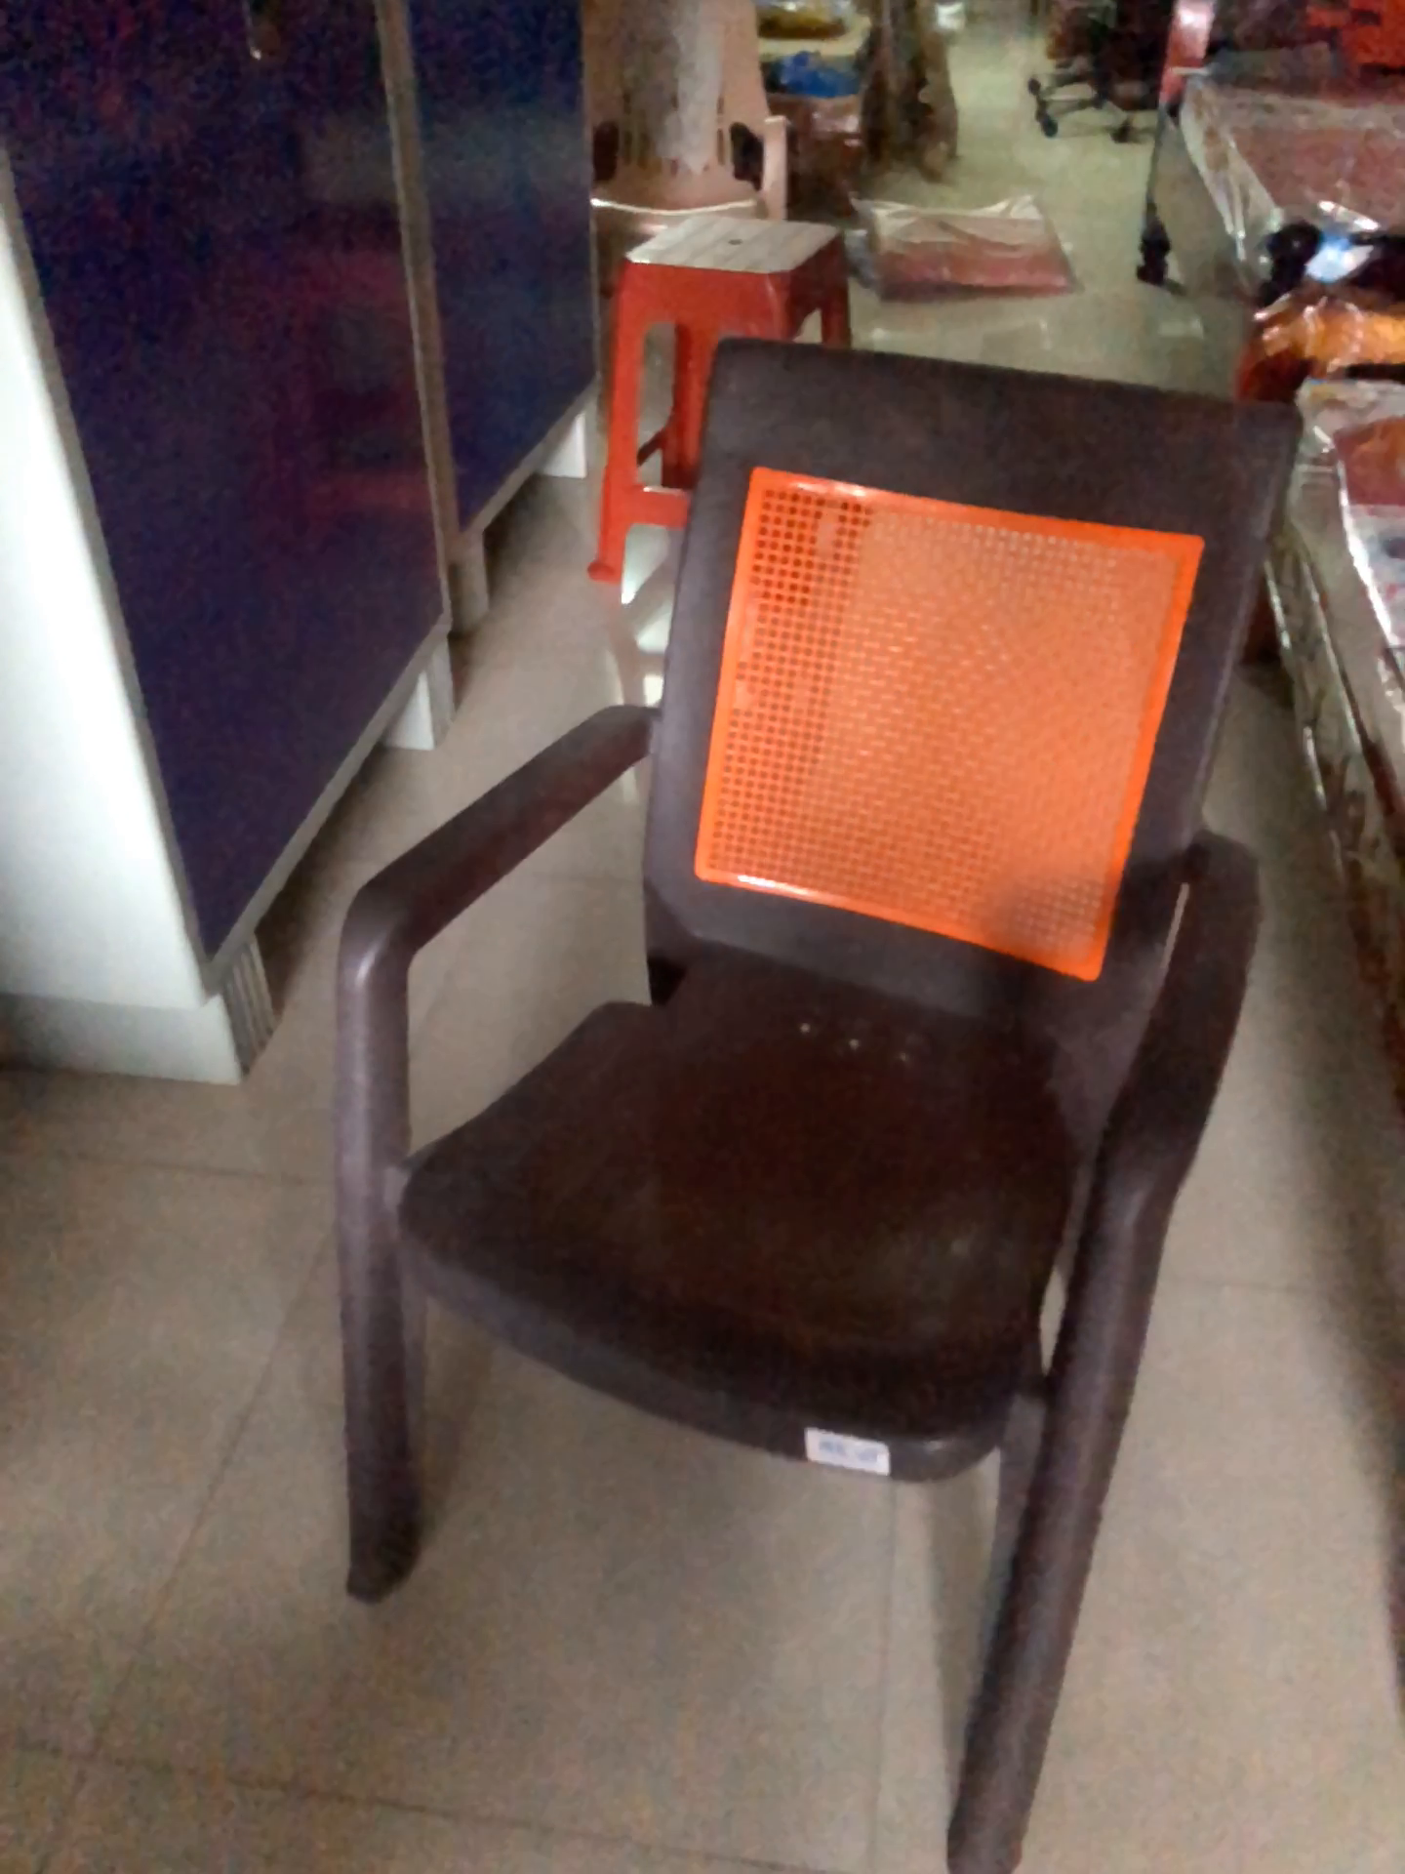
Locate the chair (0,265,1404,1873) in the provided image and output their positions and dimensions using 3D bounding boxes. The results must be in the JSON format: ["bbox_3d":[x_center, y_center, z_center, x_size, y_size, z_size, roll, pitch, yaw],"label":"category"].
[{"bbox_3d":[0.056,0.089,1.200,0.710,0.935,0.714,15,40,19],"label":"chair"}]
